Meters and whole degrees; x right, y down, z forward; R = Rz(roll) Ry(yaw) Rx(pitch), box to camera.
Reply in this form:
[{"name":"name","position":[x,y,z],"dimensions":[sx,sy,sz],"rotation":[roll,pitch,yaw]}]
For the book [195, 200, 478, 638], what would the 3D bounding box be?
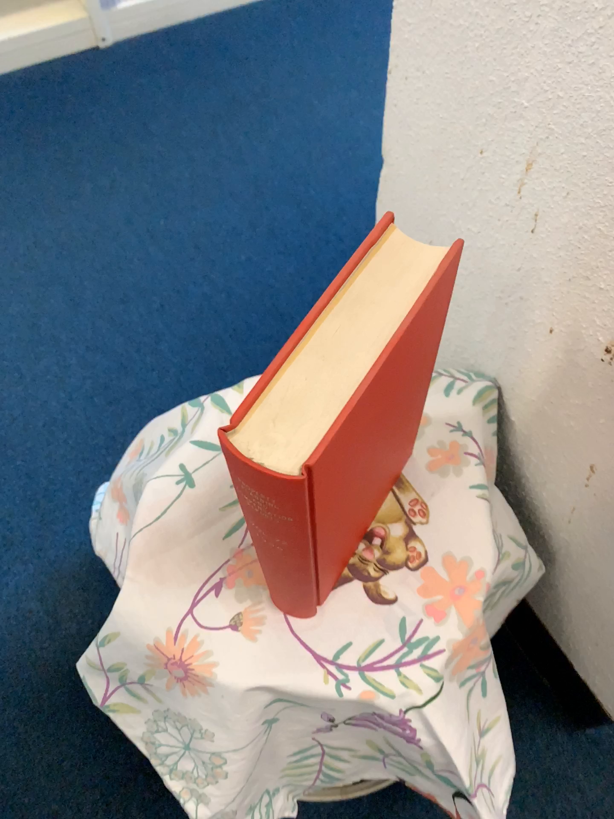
[{"name":"book","position":[0.025,0.026,0.395],"dimensions":[0.050,0.246,0.169],"rotation":[27,63,18]}]
